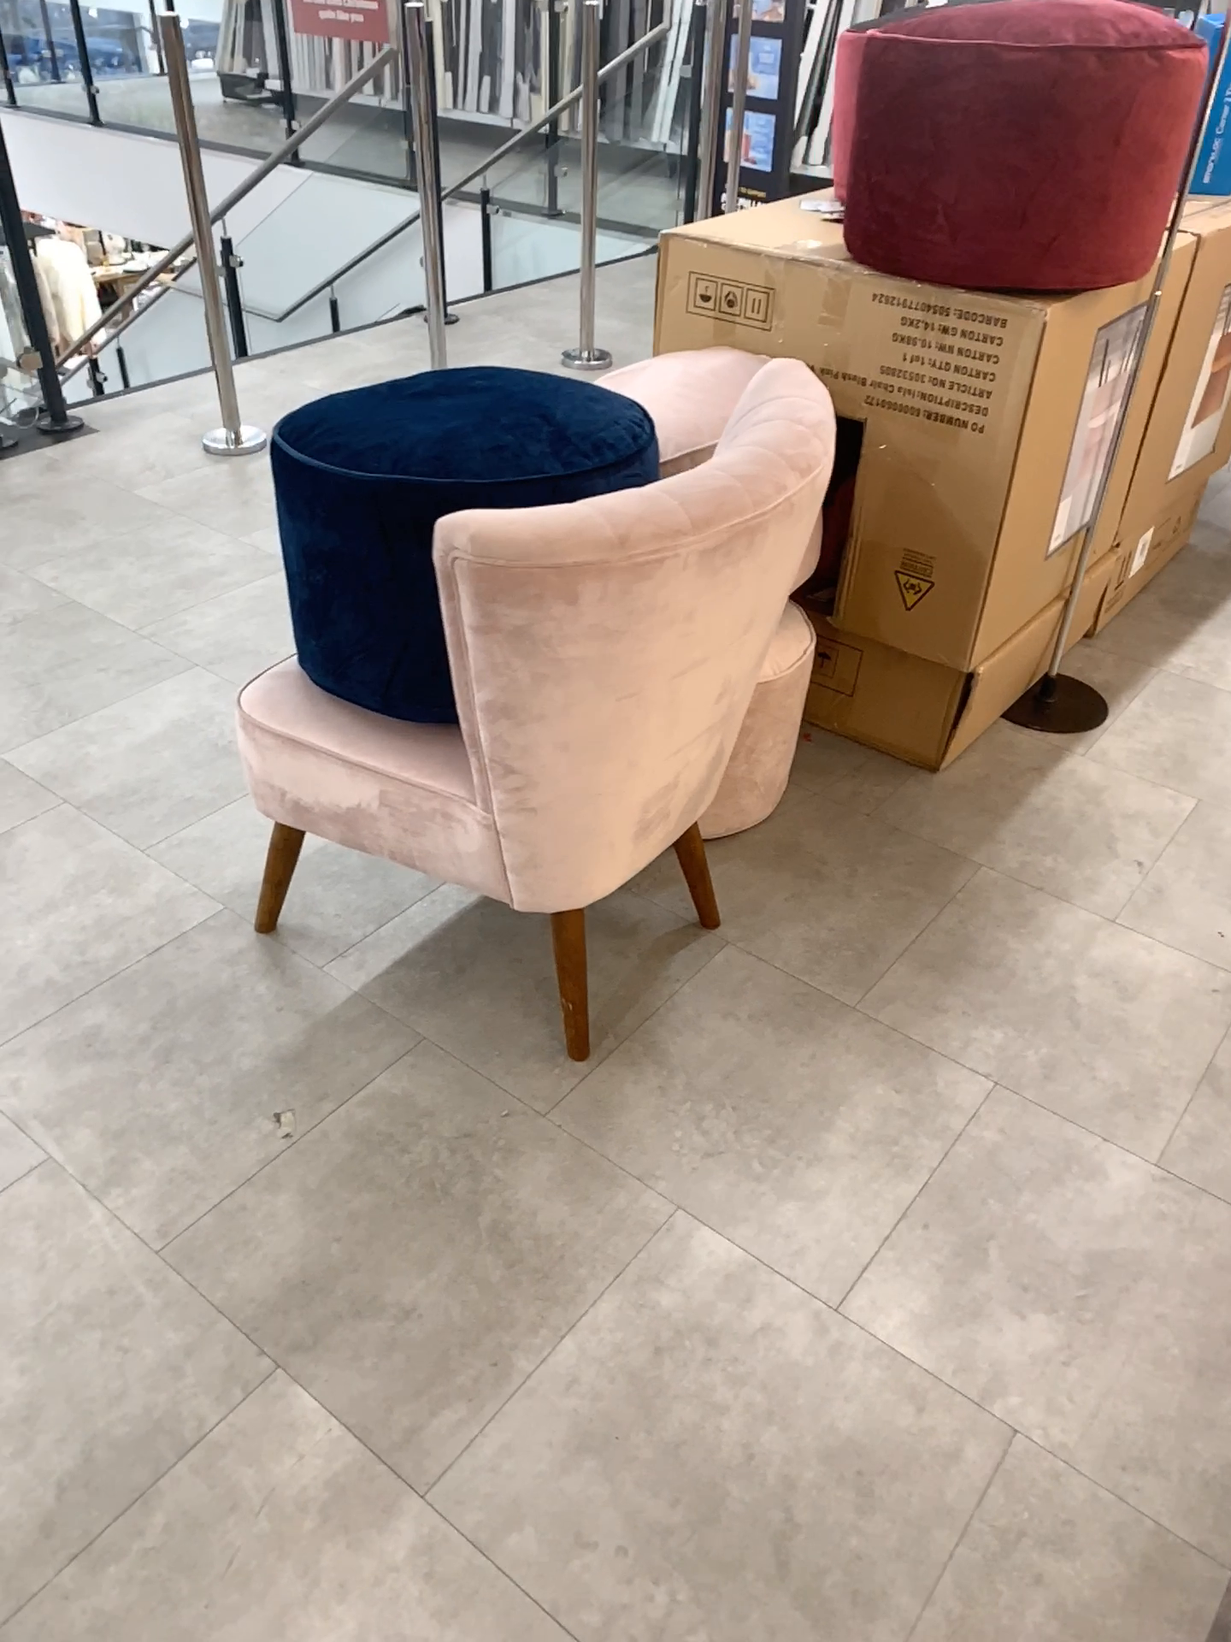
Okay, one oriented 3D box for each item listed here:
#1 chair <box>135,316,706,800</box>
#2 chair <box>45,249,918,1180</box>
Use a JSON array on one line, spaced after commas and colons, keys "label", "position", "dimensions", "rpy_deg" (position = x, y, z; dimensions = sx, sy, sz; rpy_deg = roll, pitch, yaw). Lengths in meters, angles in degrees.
[{"label": "chair", "position": [-0.238, -0.377, 1.632], "dimensions": [0.506, 0.363, 0.477], "rpy_deg": [28, 43, 31]}, {"label": "chair", "position": [-0.152, -0.198, 1.674], "dimensions": [0.747, 0.848, 0.659], "rpy_deg": [25, 42, 29]}]
